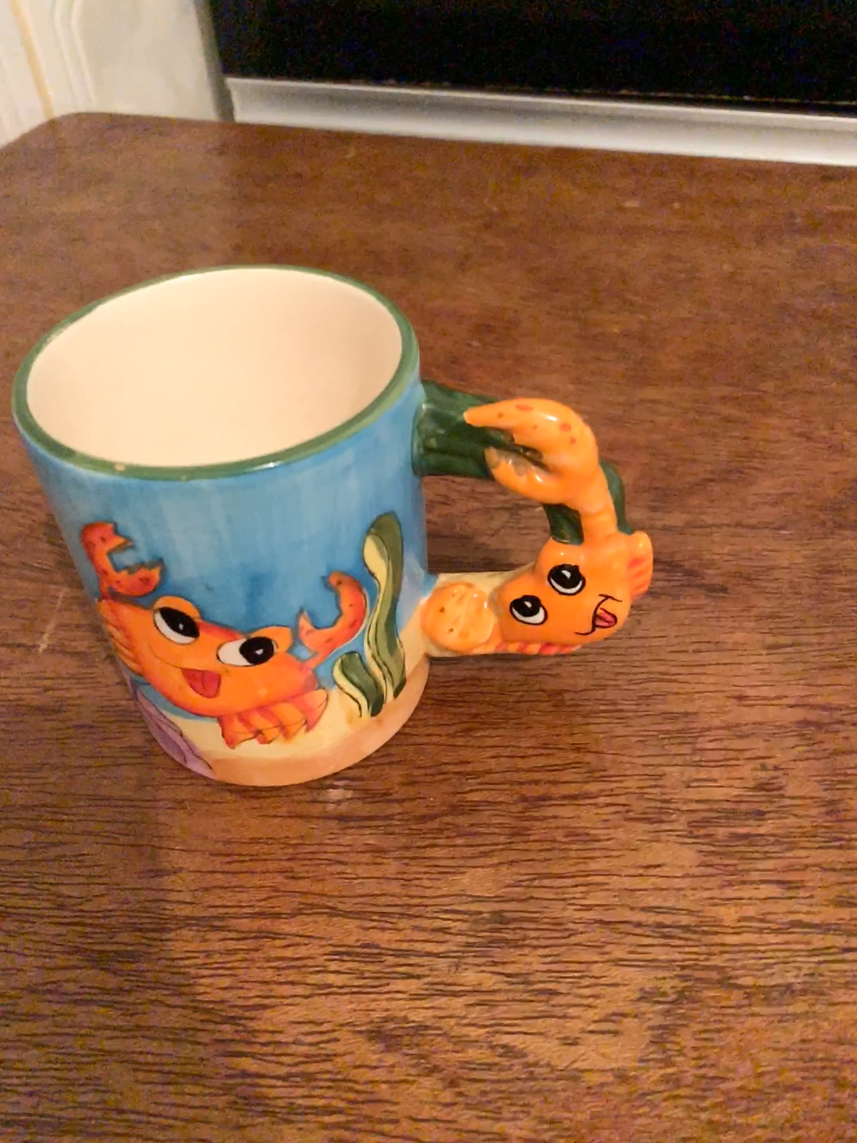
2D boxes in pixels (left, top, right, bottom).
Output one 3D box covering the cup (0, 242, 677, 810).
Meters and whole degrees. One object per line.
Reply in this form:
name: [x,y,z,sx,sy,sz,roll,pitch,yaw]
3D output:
cup: [-0.023,-0.009,0.205,0.130,0.099,0.080,0,44,3]
